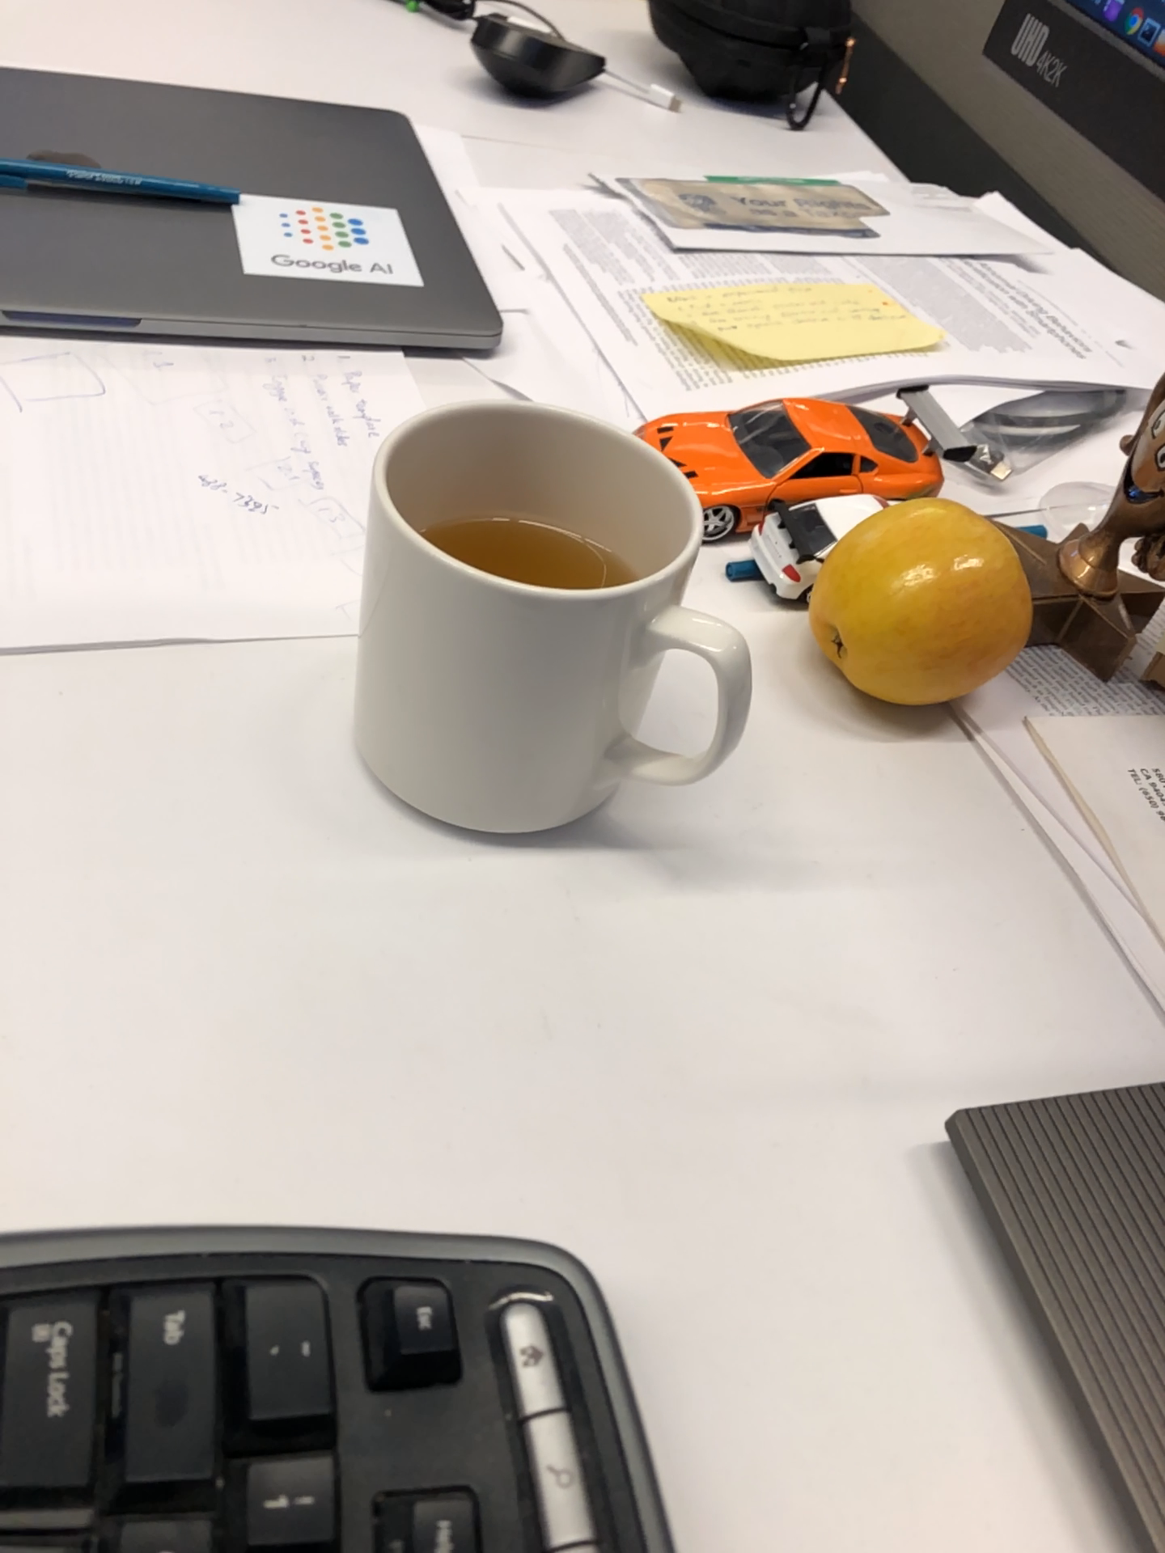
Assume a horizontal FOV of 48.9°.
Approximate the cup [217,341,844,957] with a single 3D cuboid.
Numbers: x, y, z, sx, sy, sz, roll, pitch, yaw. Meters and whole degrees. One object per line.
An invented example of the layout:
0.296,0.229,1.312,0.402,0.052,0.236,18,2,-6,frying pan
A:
-0.017,-0.036,0.319,0.120,0.080,0.080,31,46,16,cup
